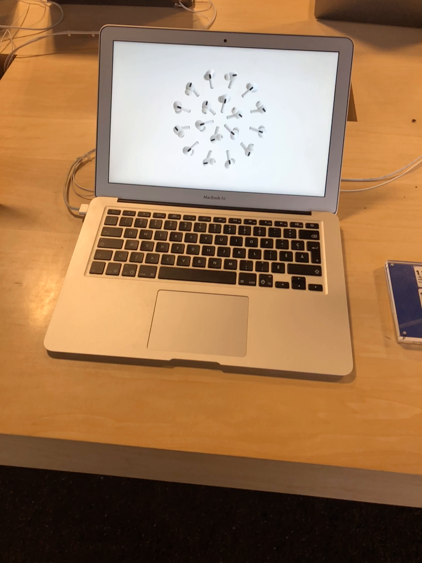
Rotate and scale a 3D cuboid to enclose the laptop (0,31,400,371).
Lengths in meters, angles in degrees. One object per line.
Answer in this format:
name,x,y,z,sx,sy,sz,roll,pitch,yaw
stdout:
laptop,0.001,-0.113,0.525,0.311,0.151,0.372,4,52,3
